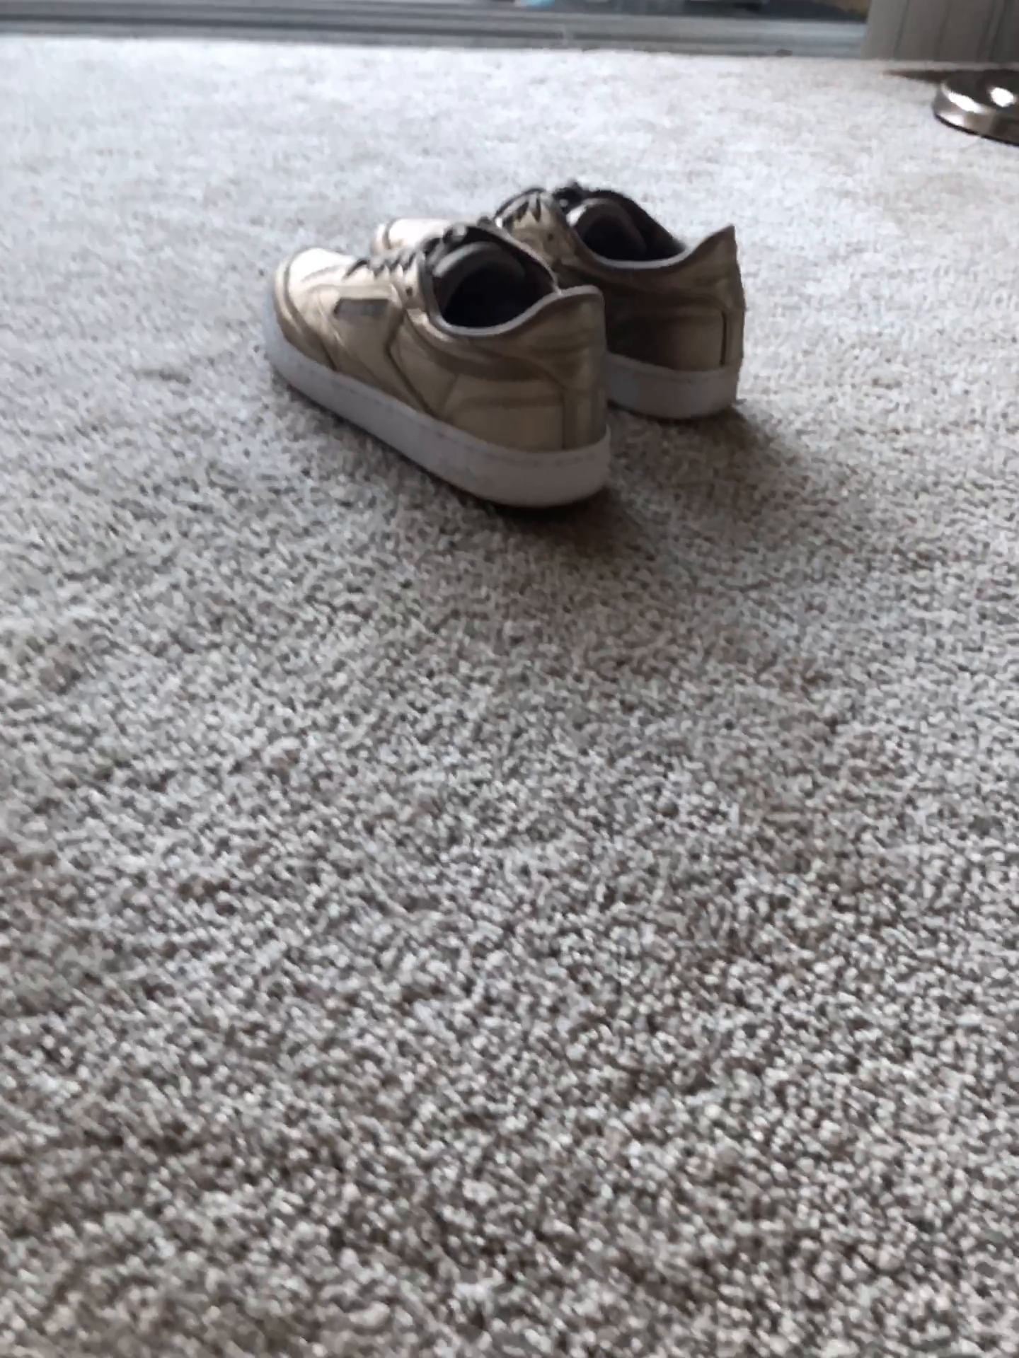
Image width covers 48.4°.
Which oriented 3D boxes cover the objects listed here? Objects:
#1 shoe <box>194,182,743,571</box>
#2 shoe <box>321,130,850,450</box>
[{"bbox_3d":[-0.035,-0.163,0.553,0.110,0.070,0.281,-23,47,-33],"label":"shoe"},{"bbox_3d":[0.027,-0.225,0.619,0.110,0.070,0.280,-28,49,-37],"label":"shoe"}]
